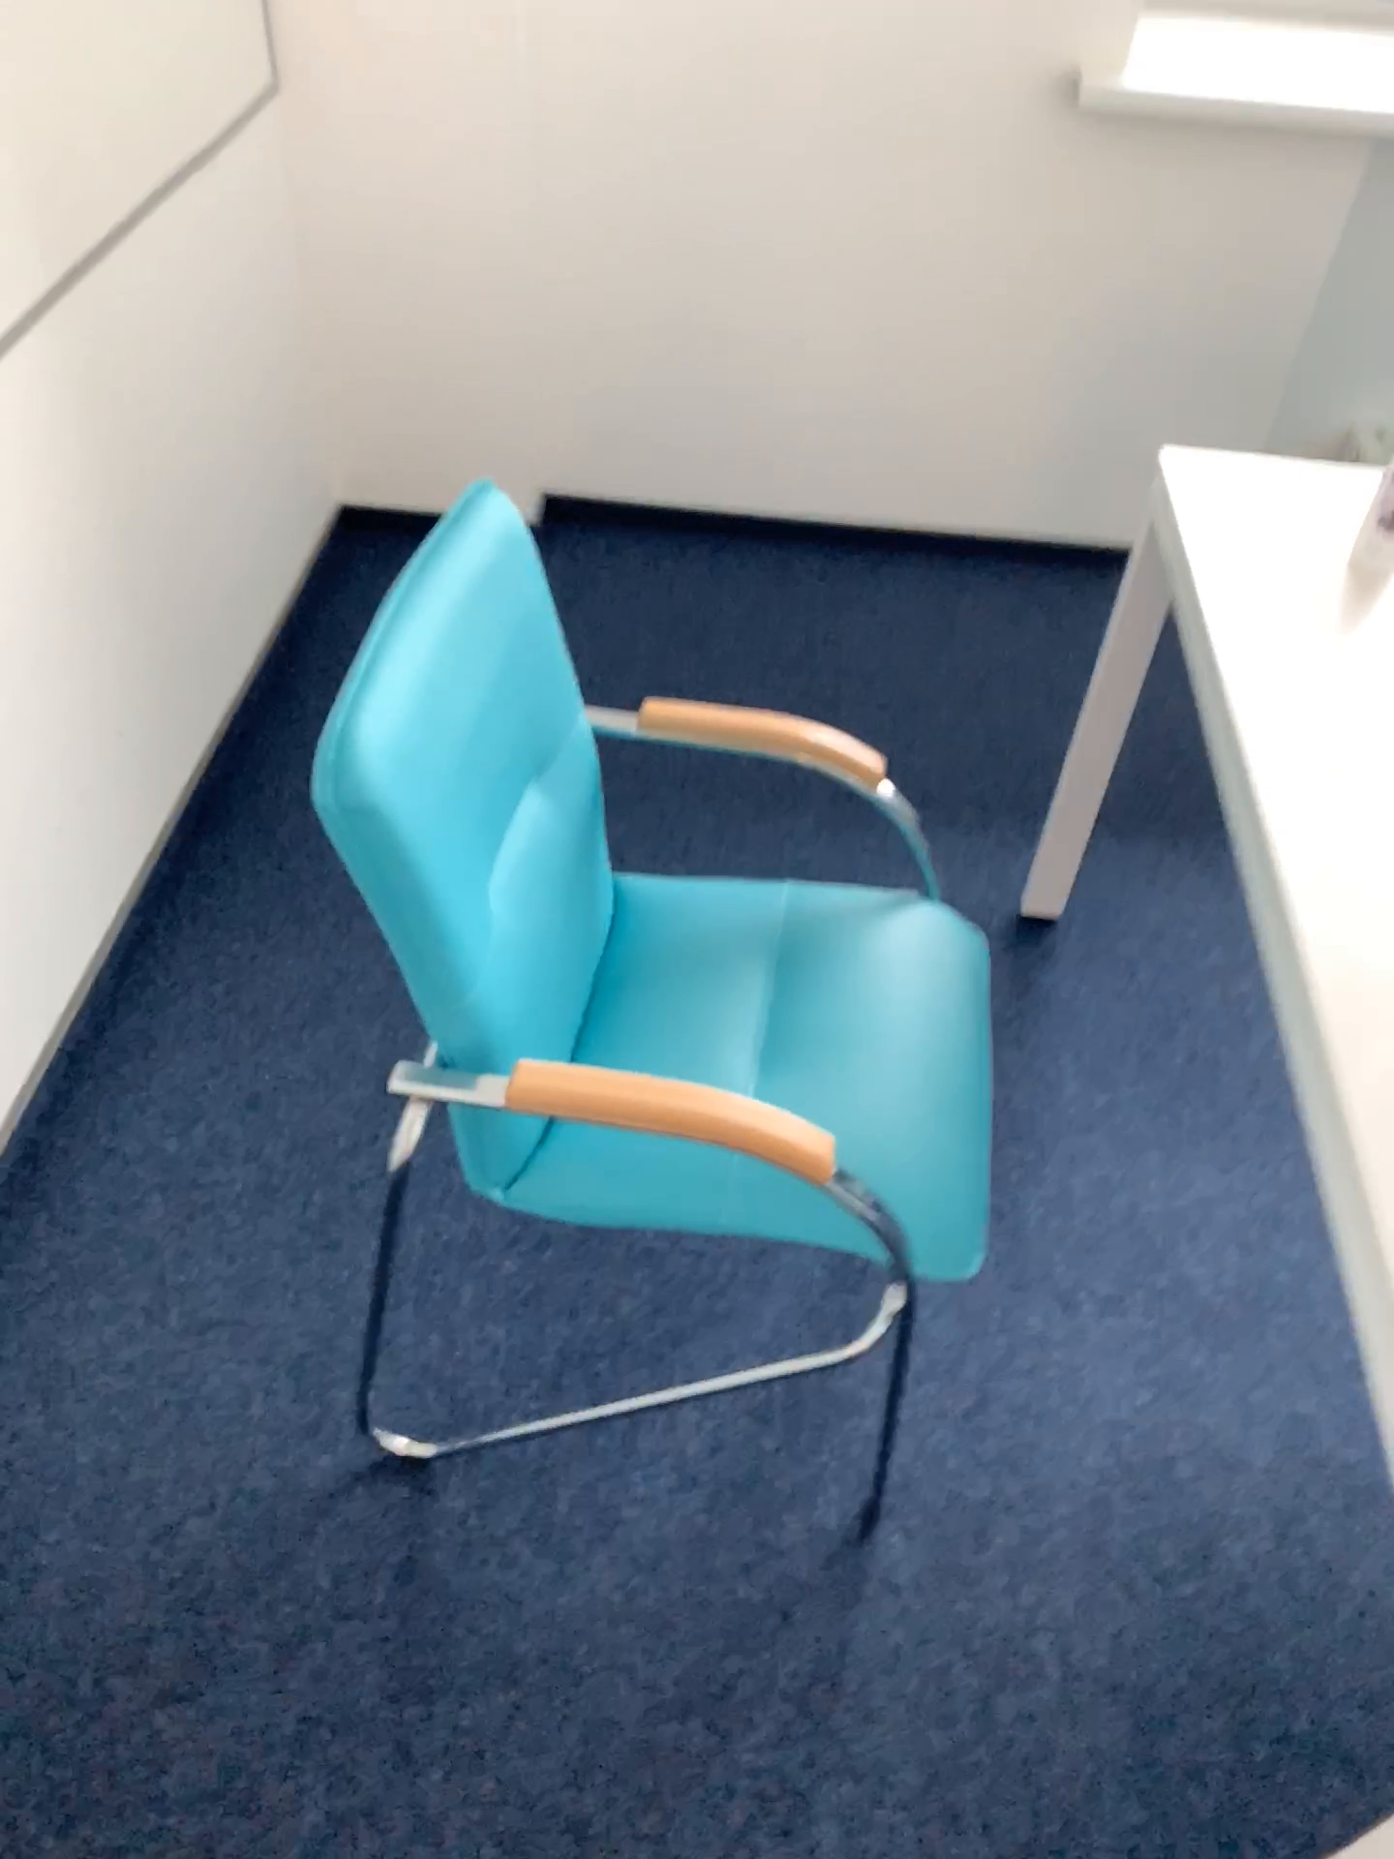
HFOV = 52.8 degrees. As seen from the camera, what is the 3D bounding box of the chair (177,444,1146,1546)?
[{"bbox_3d":[-0.014,0.107,1.459,0.650,0.925,0.583,9,45,4],"label":"chair"}]
